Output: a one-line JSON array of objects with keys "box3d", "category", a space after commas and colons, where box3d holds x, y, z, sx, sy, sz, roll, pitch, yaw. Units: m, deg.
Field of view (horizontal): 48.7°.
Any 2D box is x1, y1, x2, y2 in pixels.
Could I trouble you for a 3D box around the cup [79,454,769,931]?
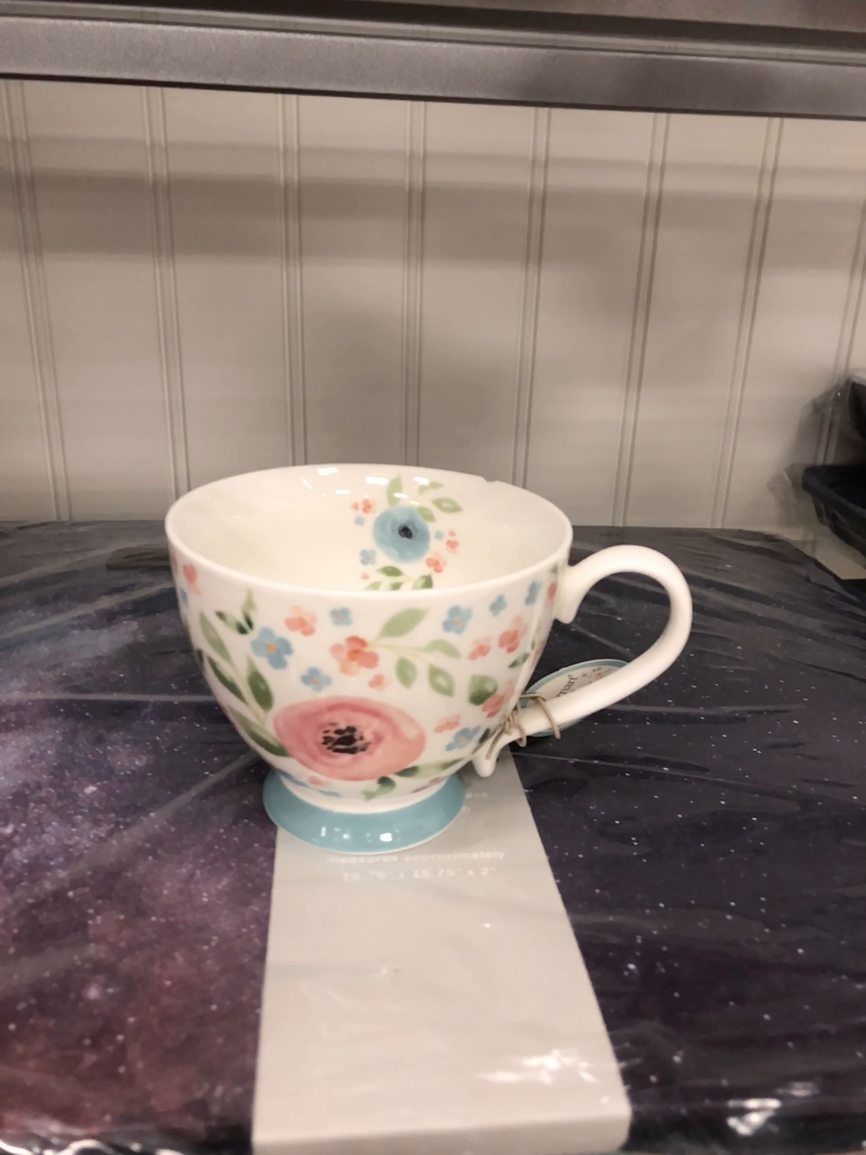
[{"box3d": [0.000, 0.022, 0.272, 0.150, 0.079, 0.111, 4, 22, 5], "category": "cup"}]
